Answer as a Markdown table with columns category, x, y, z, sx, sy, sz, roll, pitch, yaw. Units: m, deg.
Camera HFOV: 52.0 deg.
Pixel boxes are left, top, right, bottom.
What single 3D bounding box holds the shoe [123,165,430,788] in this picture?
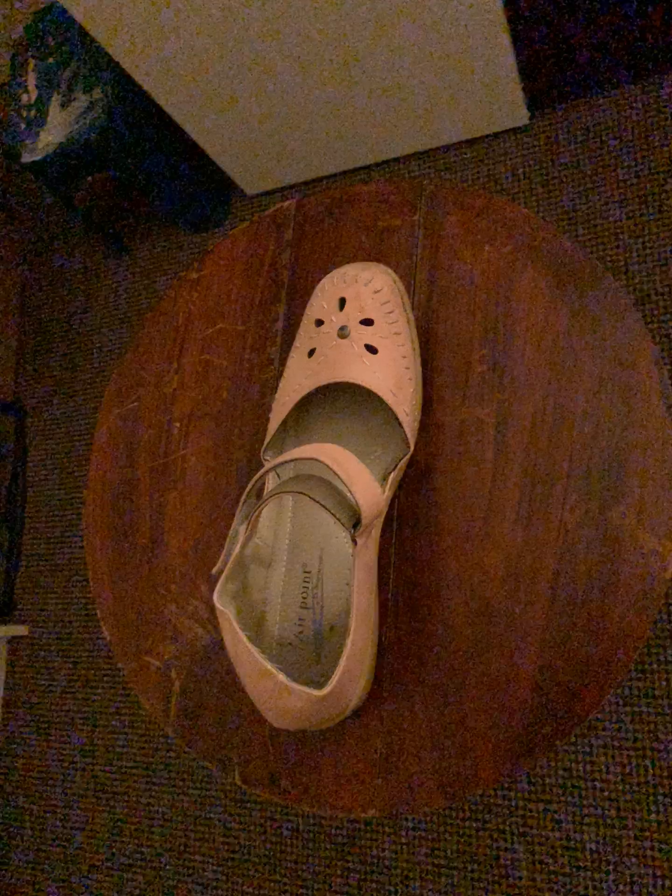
| category | x | y | z | sx | sy | sz | roll | pitch | yaw |
| --- | --- | --- | --- | --- | --- | --- | --- | --- | --- |
| shoe | -0.021 | 0.010 | 0.358 | 0.102 | 0.092 | 0.272 | 0 | 78 | 25 |
